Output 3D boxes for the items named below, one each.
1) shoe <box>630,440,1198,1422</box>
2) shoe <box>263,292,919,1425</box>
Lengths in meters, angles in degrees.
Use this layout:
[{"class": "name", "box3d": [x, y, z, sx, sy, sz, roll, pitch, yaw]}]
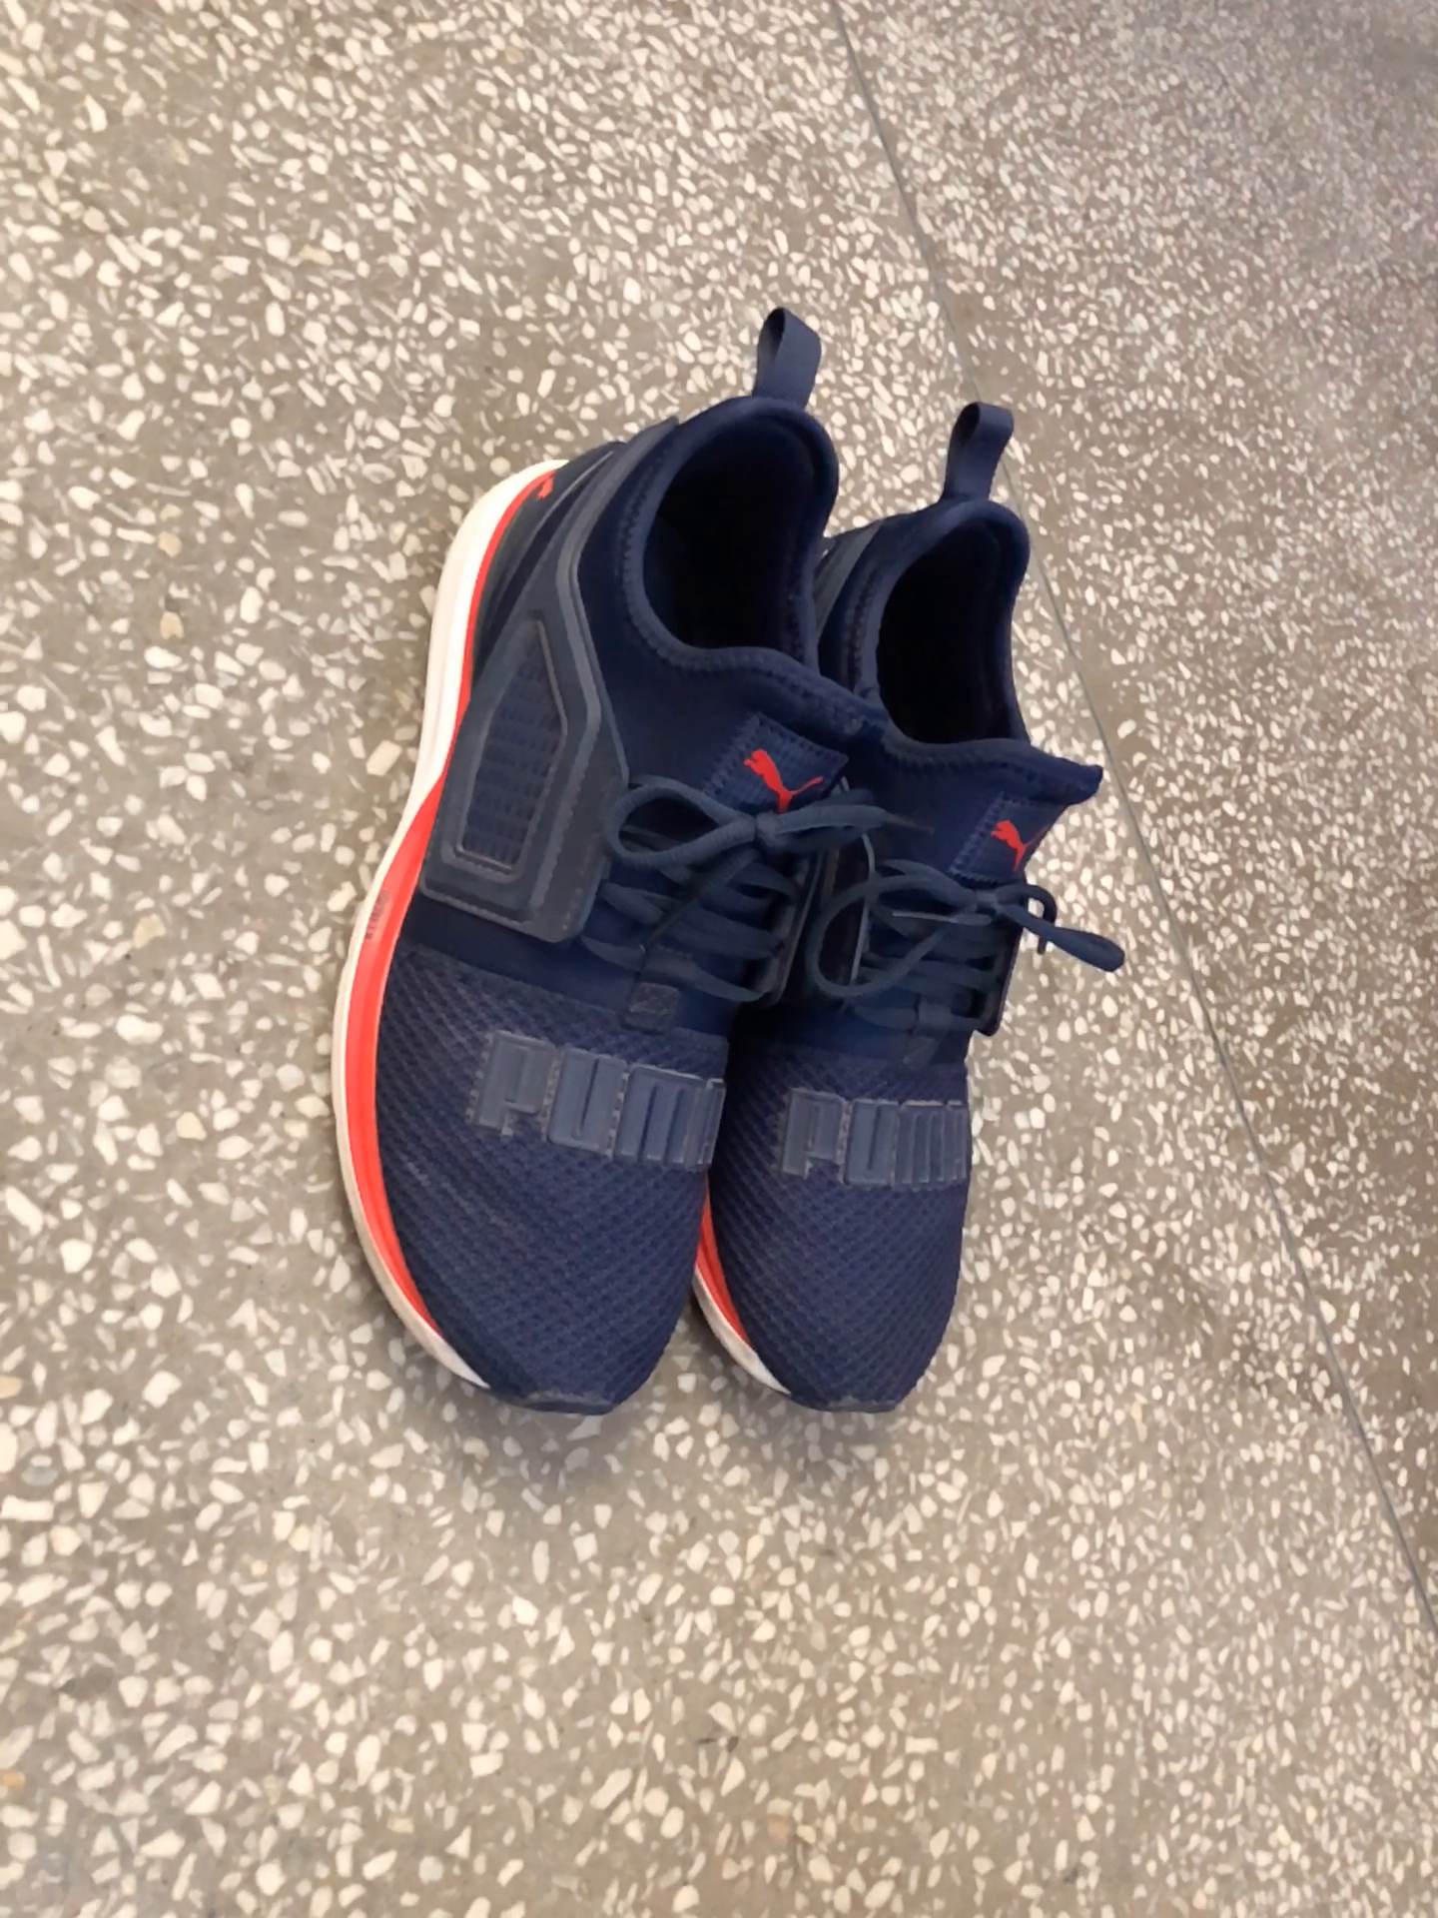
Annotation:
[{"class": "shoe", "box3d": [0.053, 0.003, 0.474, 0.107, 0.113, 0.257, 12, 70, -34]}, {"class": "shoe", "box3d": [-0.028, -0.015, 0.419, 0.107, 0.113, 0.257, 16, 68, -32]}]
